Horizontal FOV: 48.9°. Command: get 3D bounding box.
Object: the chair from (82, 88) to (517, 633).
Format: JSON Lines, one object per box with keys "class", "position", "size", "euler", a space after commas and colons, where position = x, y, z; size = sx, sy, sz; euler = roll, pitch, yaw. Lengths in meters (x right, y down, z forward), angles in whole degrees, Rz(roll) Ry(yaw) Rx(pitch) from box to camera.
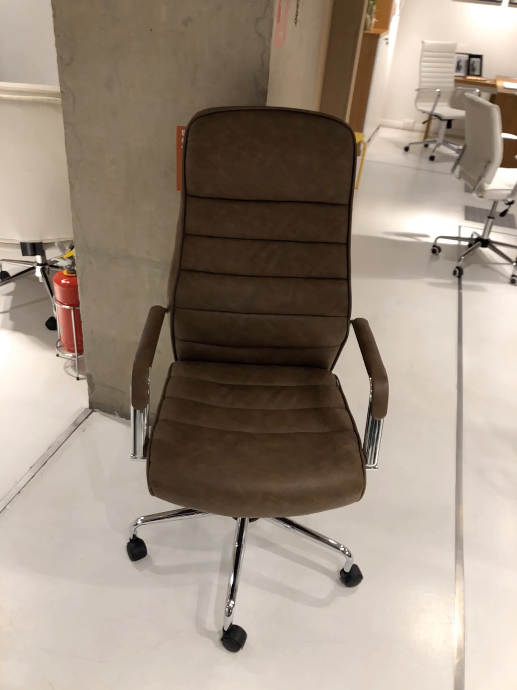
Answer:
{"class": "chair", "position": [0.061, 0.028, 1.261], "size": [0.640, 0.963, 0.635], "euler": [5, 31, -1]}
